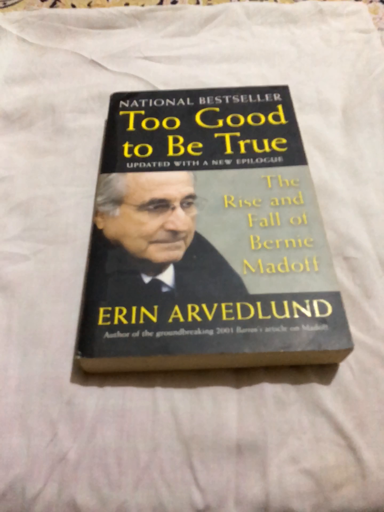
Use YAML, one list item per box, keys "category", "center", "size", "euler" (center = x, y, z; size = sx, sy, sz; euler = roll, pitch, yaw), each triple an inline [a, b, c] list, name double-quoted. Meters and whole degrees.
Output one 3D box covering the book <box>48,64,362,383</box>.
- category: "book"
  center: [0.003, -0.040, 0.280]
  size: [0.150, 0.030, 0.231]
  euler: [-3, 57, 1]
